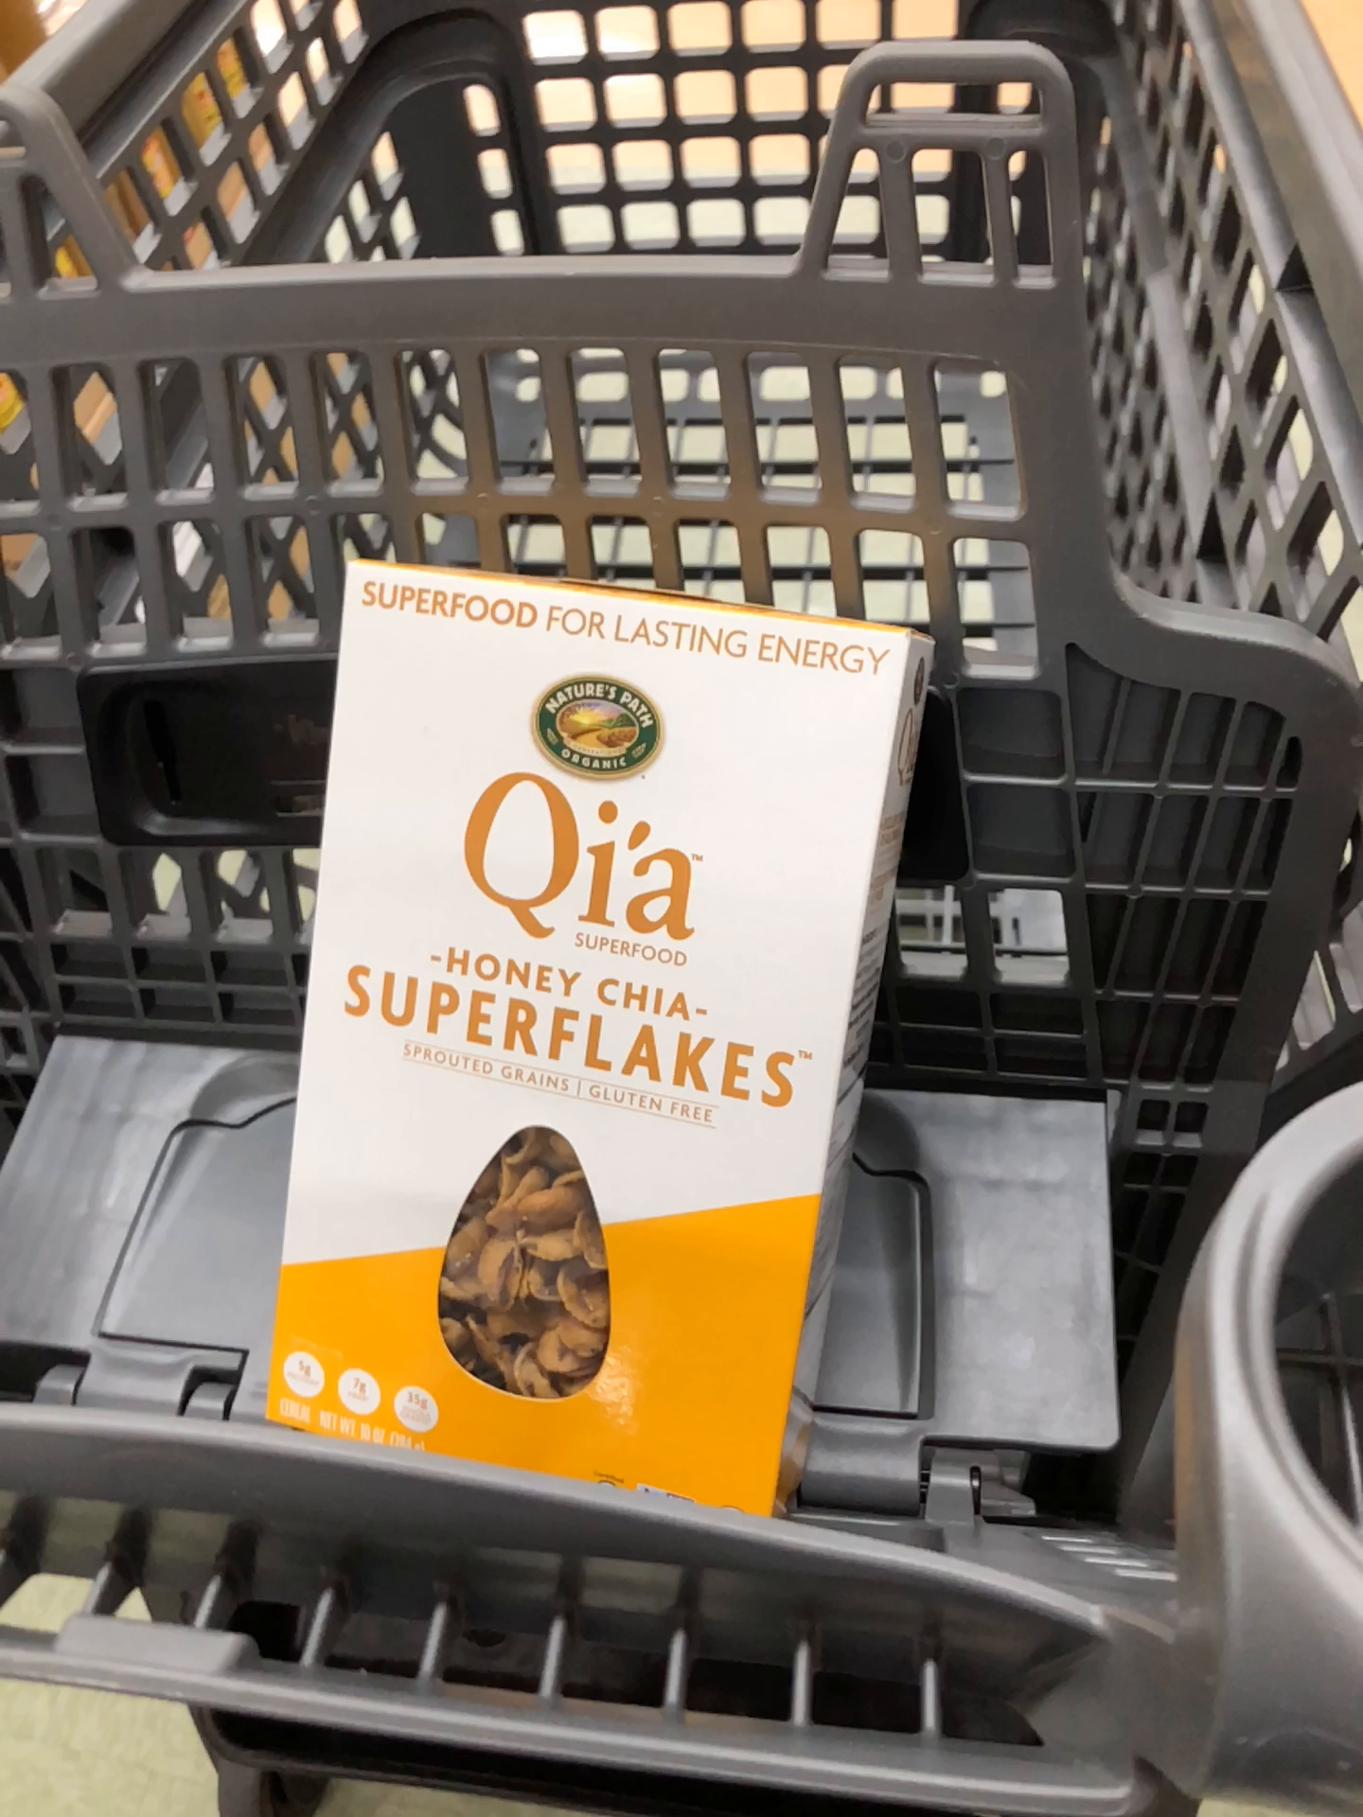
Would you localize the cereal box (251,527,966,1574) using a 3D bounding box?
[{"bbox_3d":[-0.023,0.035,0.443,0.160,0.070,0.260,11,100,15],"label":"cereal box"}]
